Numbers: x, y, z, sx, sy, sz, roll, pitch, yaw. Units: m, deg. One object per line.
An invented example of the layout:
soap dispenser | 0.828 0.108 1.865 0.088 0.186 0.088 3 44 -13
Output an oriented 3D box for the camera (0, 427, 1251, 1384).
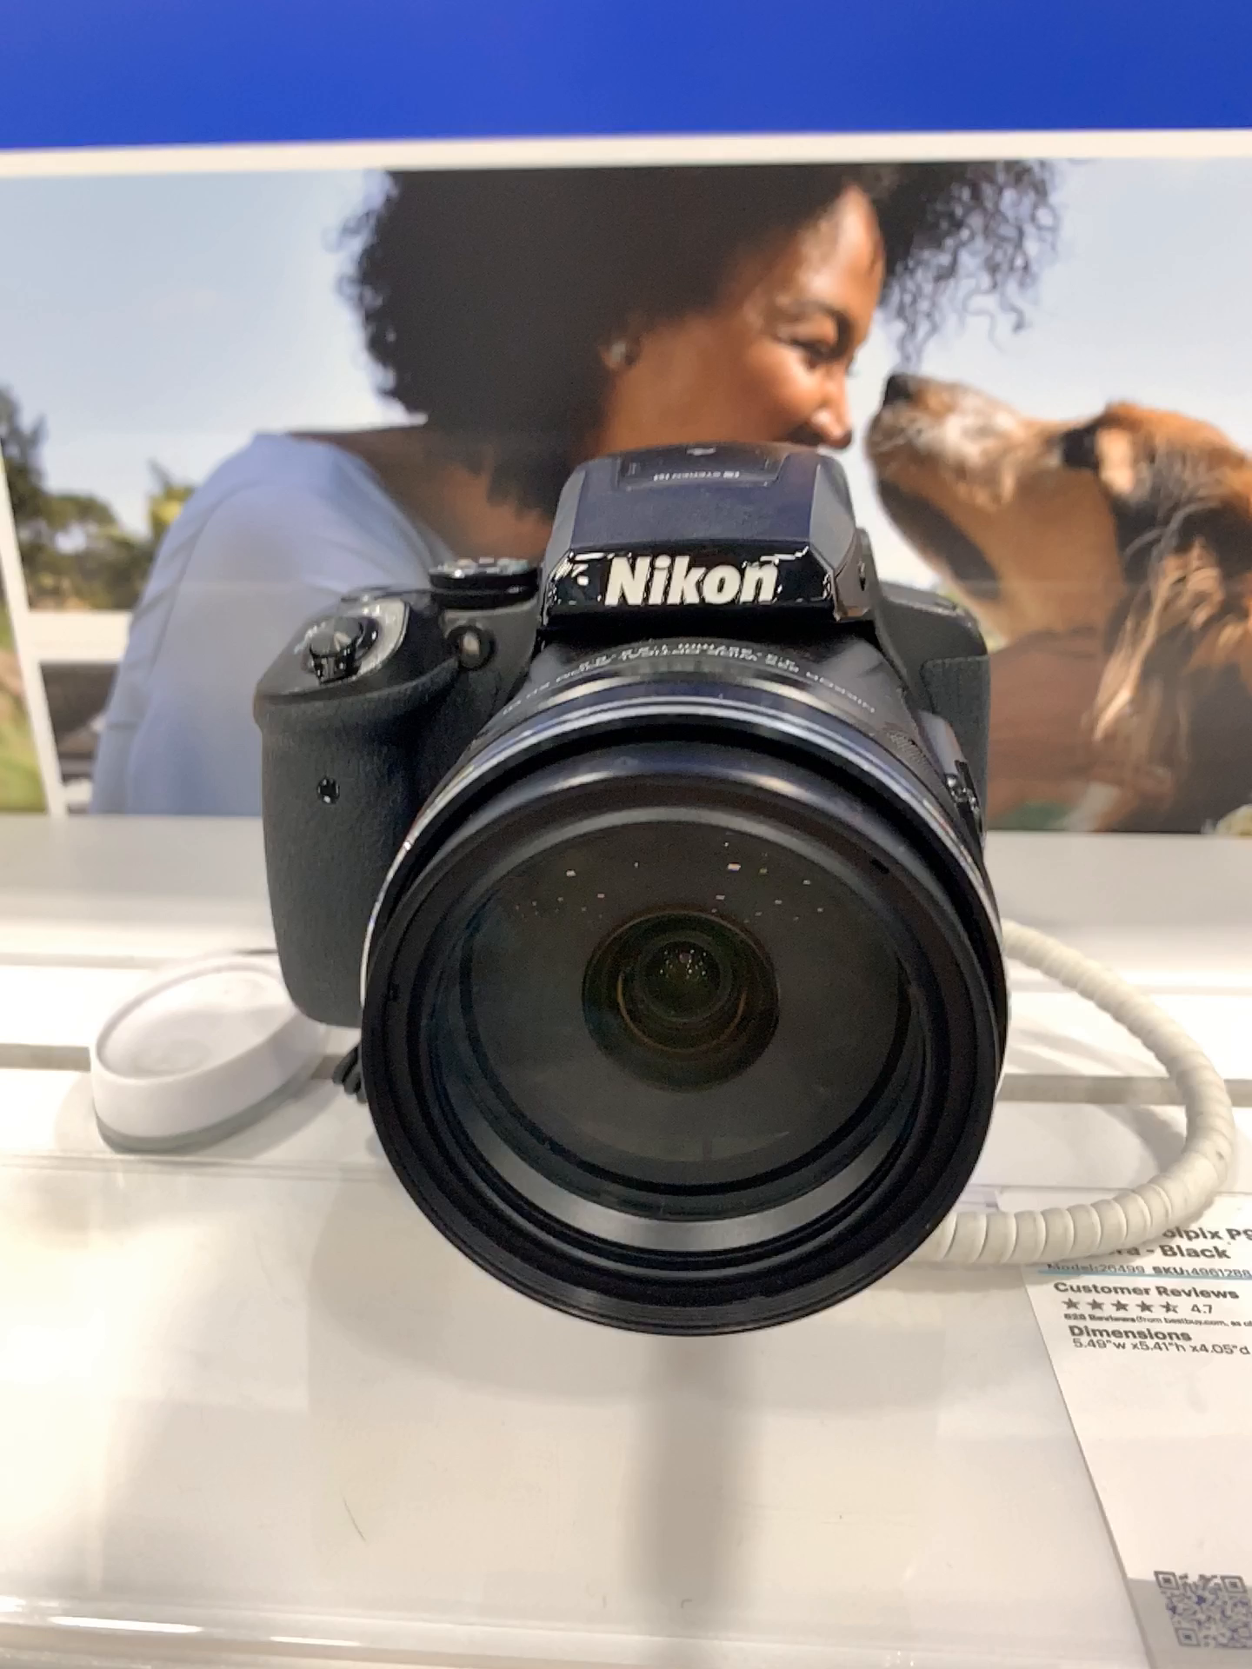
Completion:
camera | 0.003 -0.011 0.211 0.140 0.100 0.153 2 16 3
